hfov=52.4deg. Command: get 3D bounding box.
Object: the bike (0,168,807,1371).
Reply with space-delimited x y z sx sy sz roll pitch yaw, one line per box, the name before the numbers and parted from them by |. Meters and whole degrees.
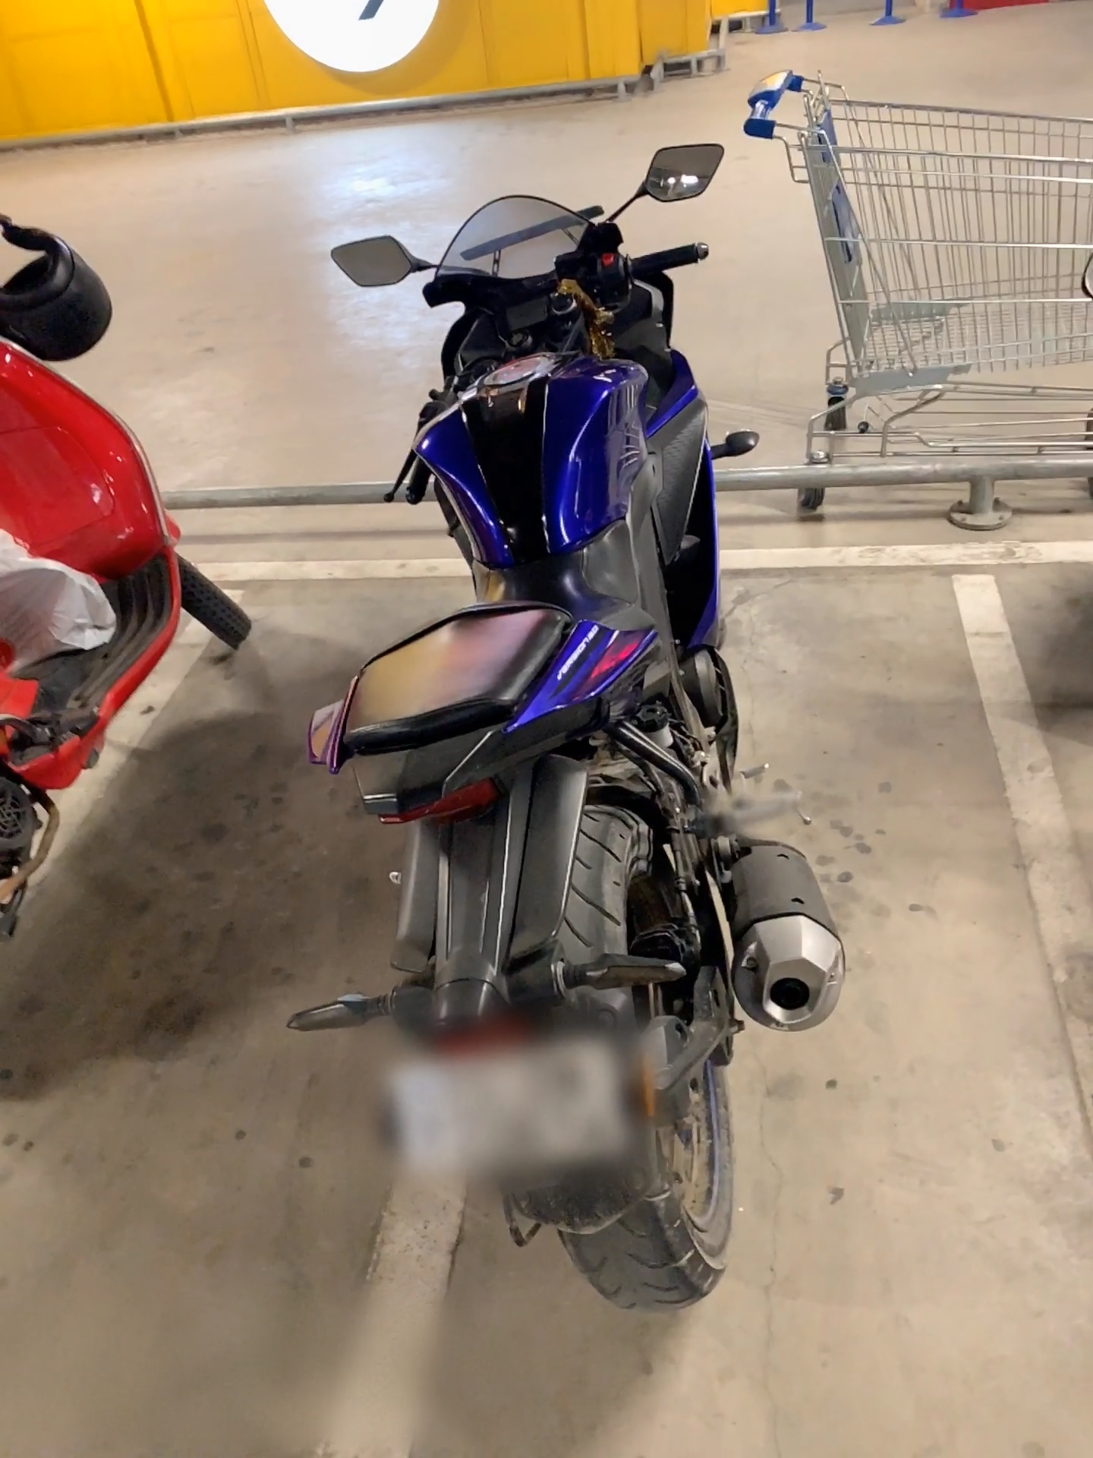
bike | -0.209 -0.110 1.742 0.687 0.933 1.657 -8 40 0
